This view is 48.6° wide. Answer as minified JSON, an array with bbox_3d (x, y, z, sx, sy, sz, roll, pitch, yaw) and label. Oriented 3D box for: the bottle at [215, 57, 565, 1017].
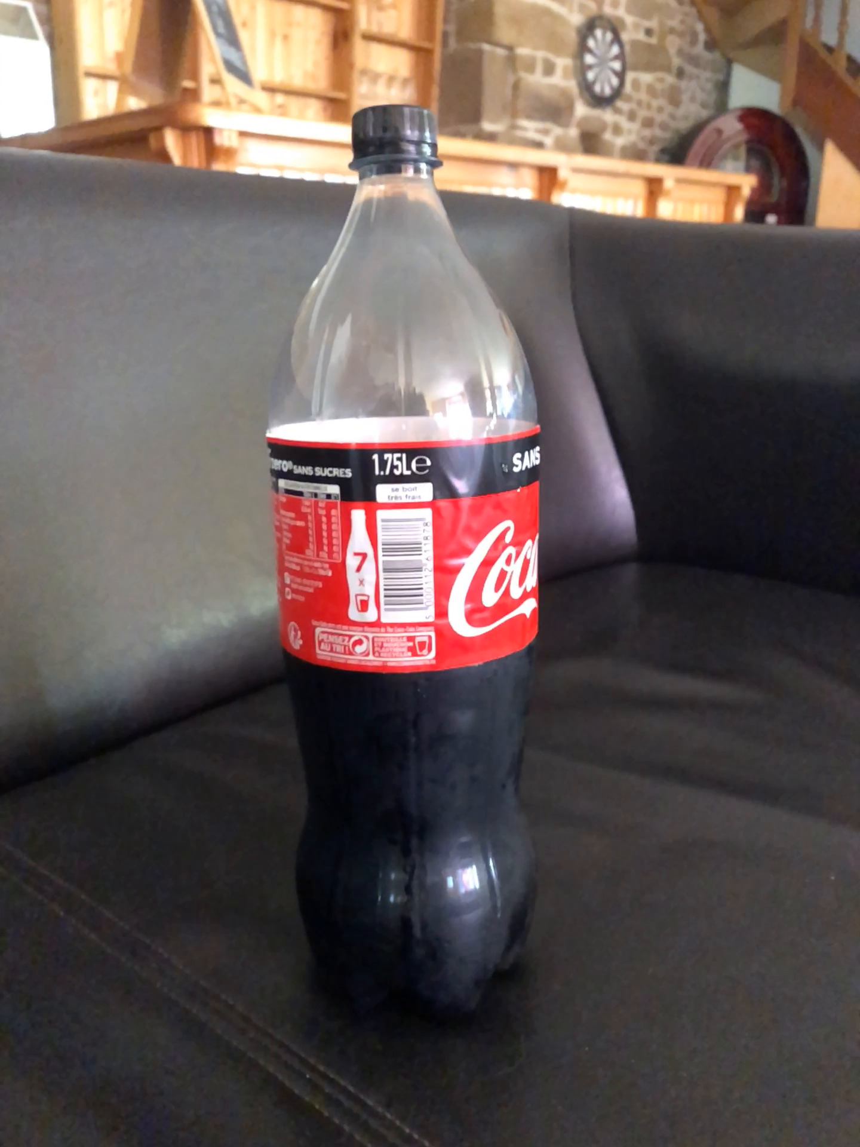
[{"bbox_3d":[-0.014,-0.005,0.361,0.100,0.319,0.100,0,14,0],"label":"bottle"}]
